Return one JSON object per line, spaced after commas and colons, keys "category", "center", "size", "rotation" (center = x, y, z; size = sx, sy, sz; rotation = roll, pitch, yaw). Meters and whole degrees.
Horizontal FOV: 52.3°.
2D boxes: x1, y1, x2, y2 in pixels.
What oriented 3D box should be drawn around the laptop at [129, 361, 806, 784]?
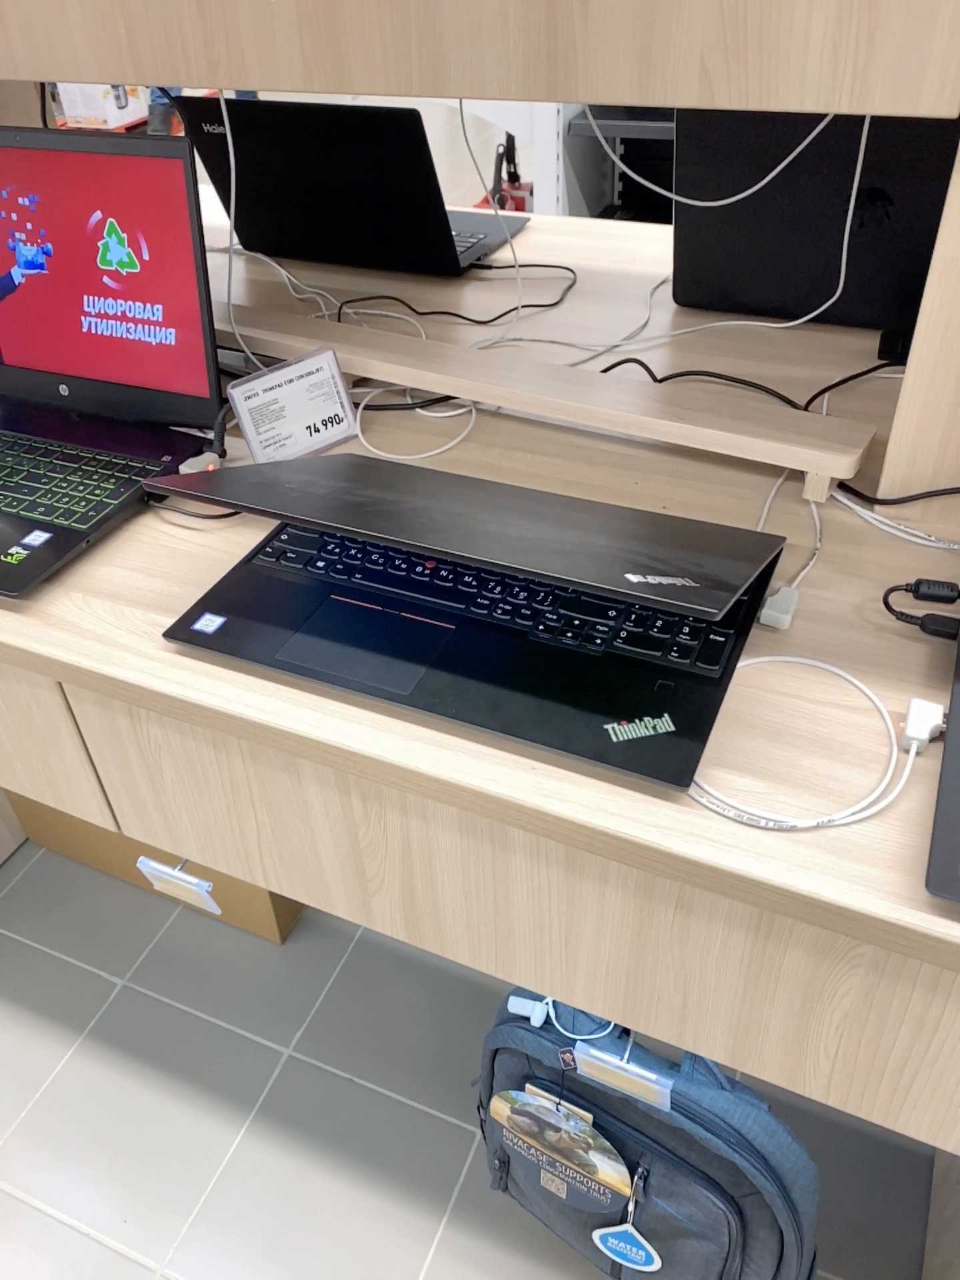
{"category": "laptop", "center": [-0.002, -0.072, 0.654], "size": [0.369, 0.093, 0.241], "rotation": [14, 43, 22]}
